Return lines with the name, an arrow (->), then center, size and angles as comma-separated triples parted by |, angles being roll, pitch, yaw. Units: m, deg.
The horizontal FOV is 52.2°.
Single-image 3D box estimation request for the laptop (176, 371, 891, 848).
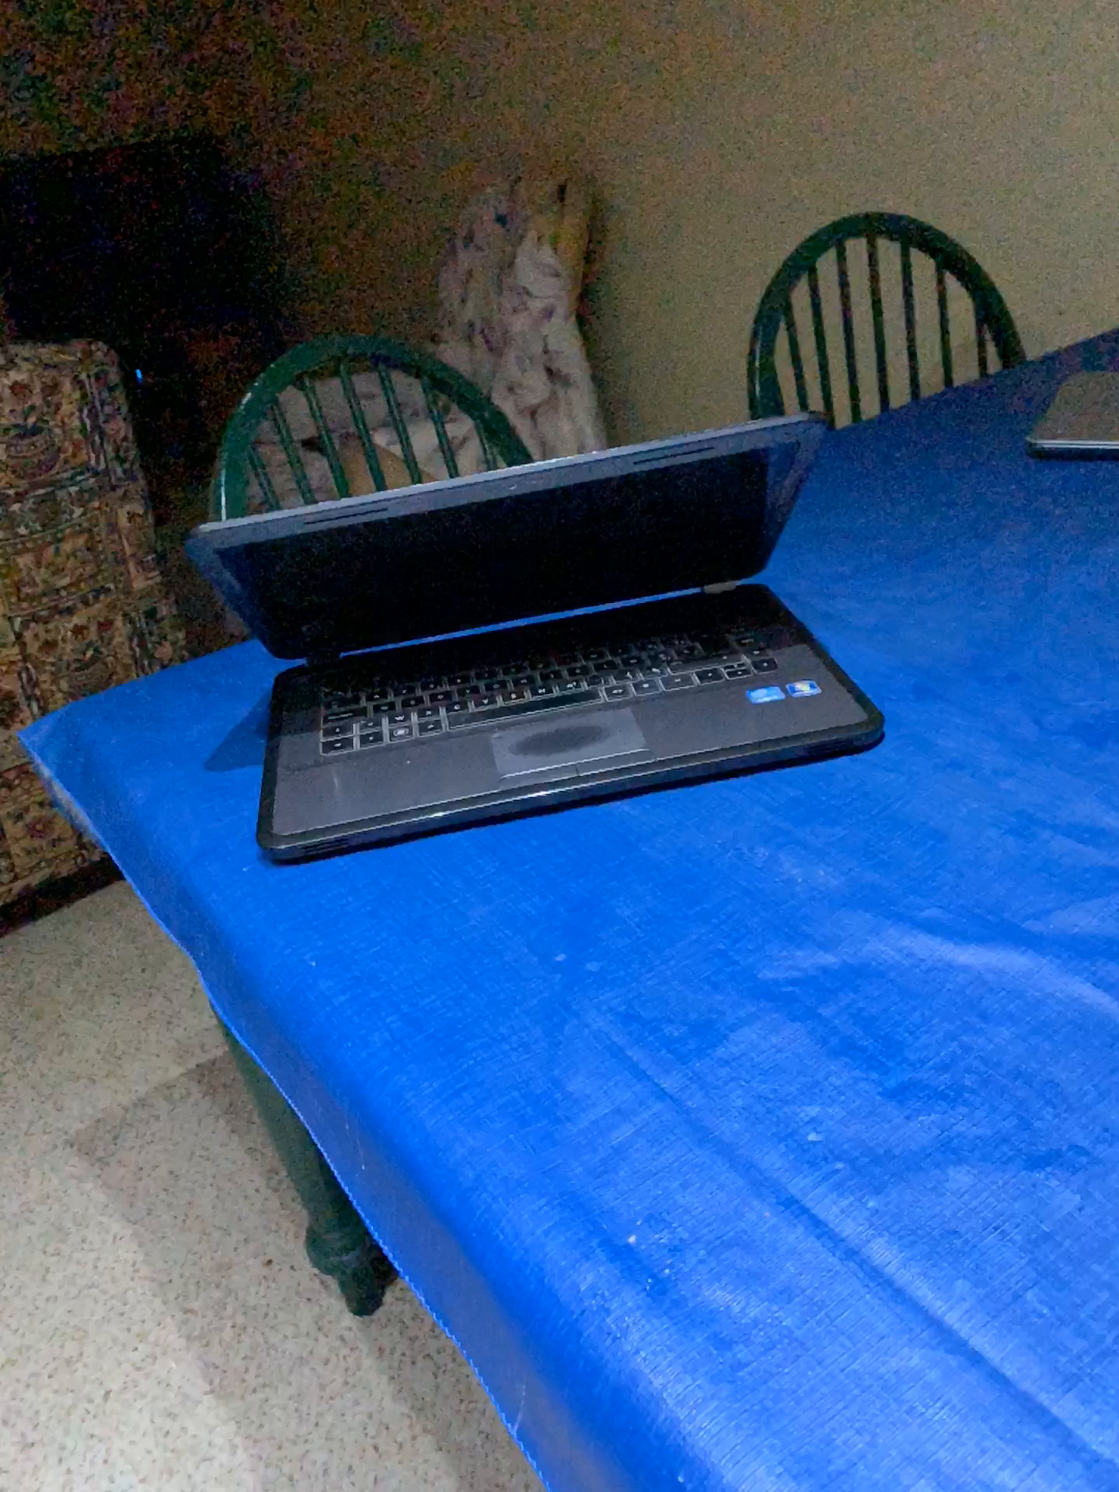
laptop -> -0.016, -0.103, 0.710 | 0.361, 0.160, 0.245 | -11, 28, -5
